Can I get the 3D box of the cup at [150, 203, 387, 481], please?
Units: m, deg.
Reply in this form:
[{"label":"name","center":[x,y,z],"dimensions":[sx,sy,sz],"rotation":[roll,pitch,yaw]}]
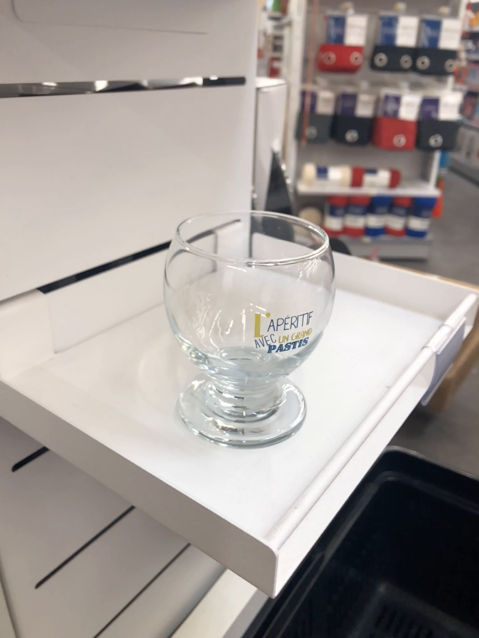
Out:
[{"label":"cup","center":[0.008,0.004,0.252],"dimensions":[0.074,0.093,0.079],"rotation":[1,26,-1]}]
